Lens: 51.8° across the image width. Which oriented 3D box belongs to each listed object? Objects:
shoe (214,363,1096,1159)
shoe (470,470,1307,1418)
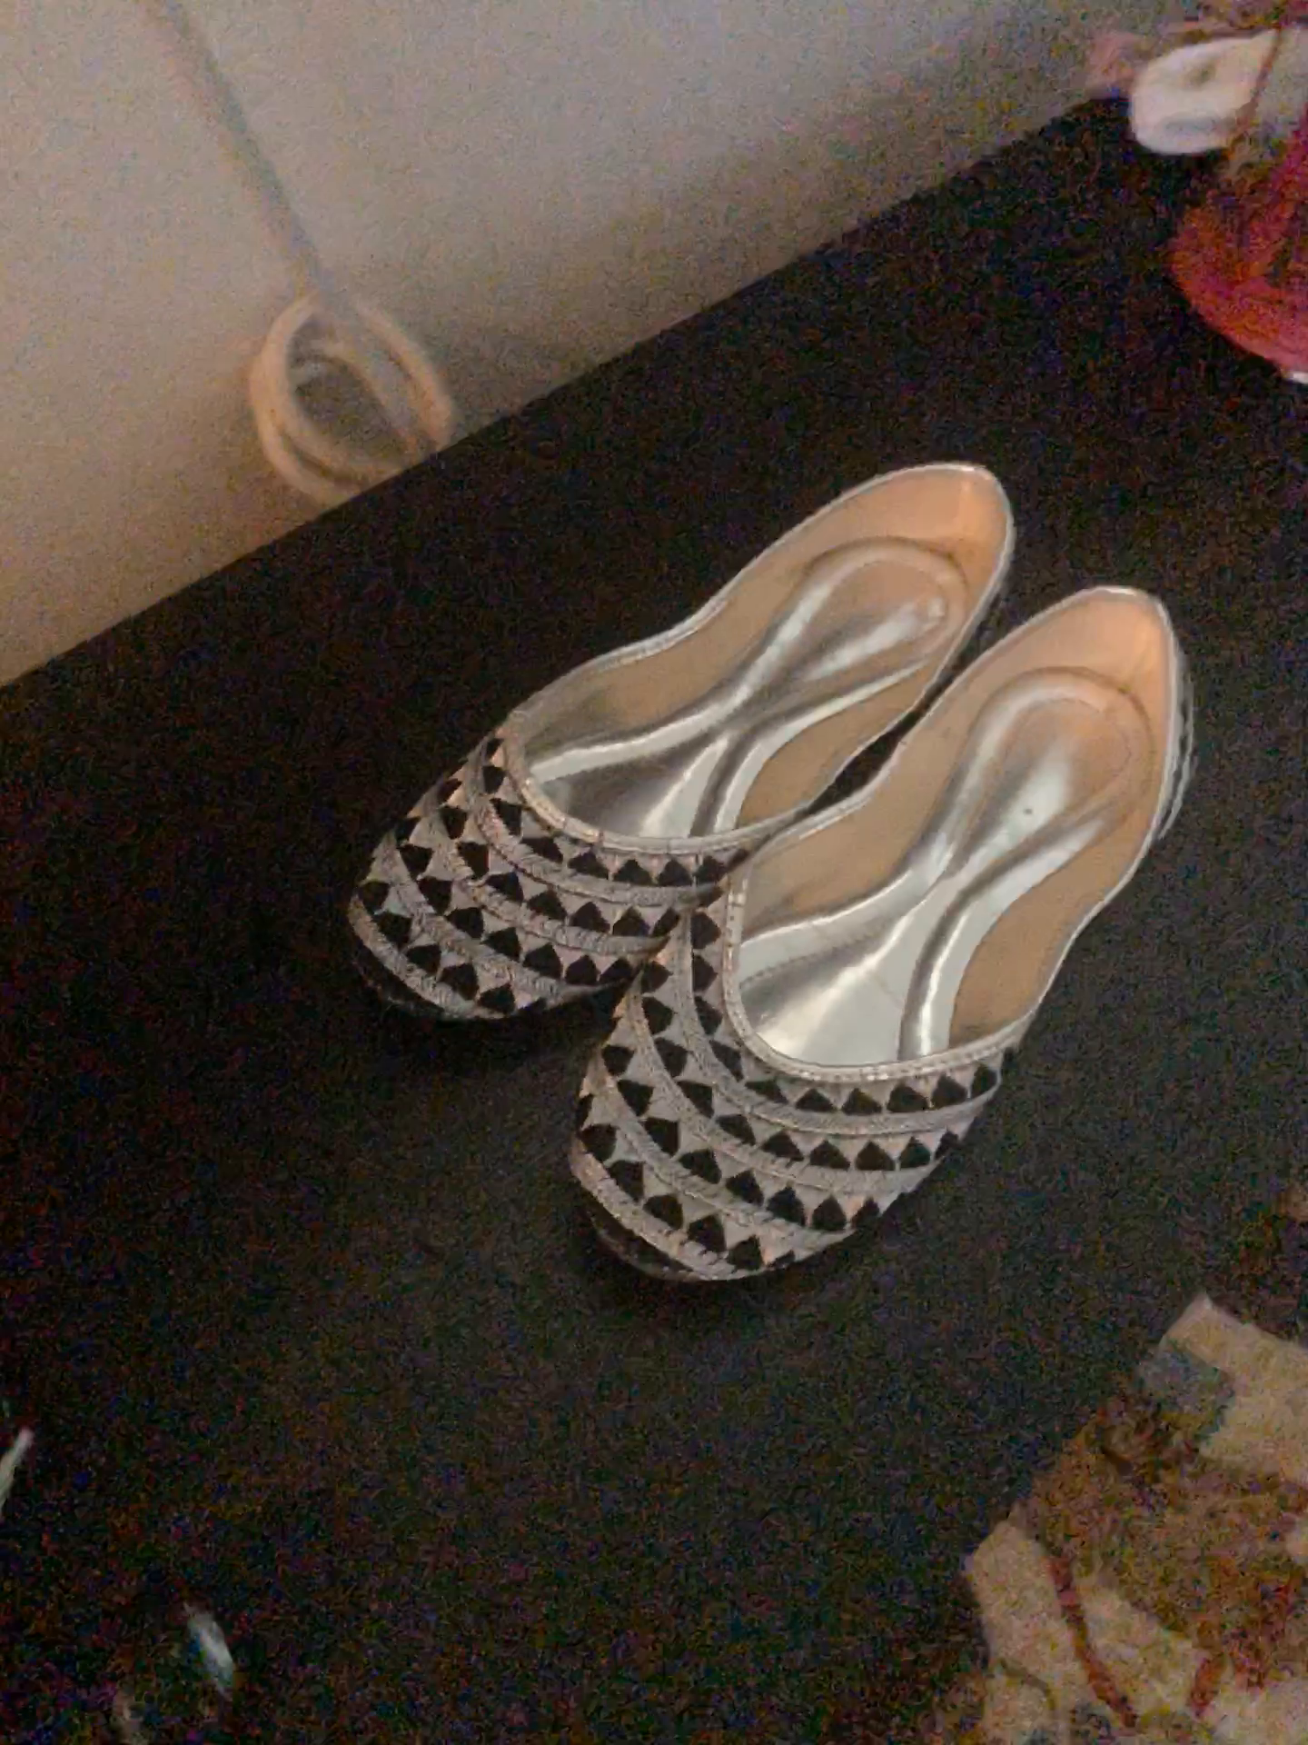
[{"bbox_3d":[0.011,-0.047,0.432,0.100,0.079,0.271,41,64,20],"label":"shoe"},{"bbox_3d":[0.078,0.007,0.382,0.100,0.079,0.261,36,63,18],"label":"shoe"}]
